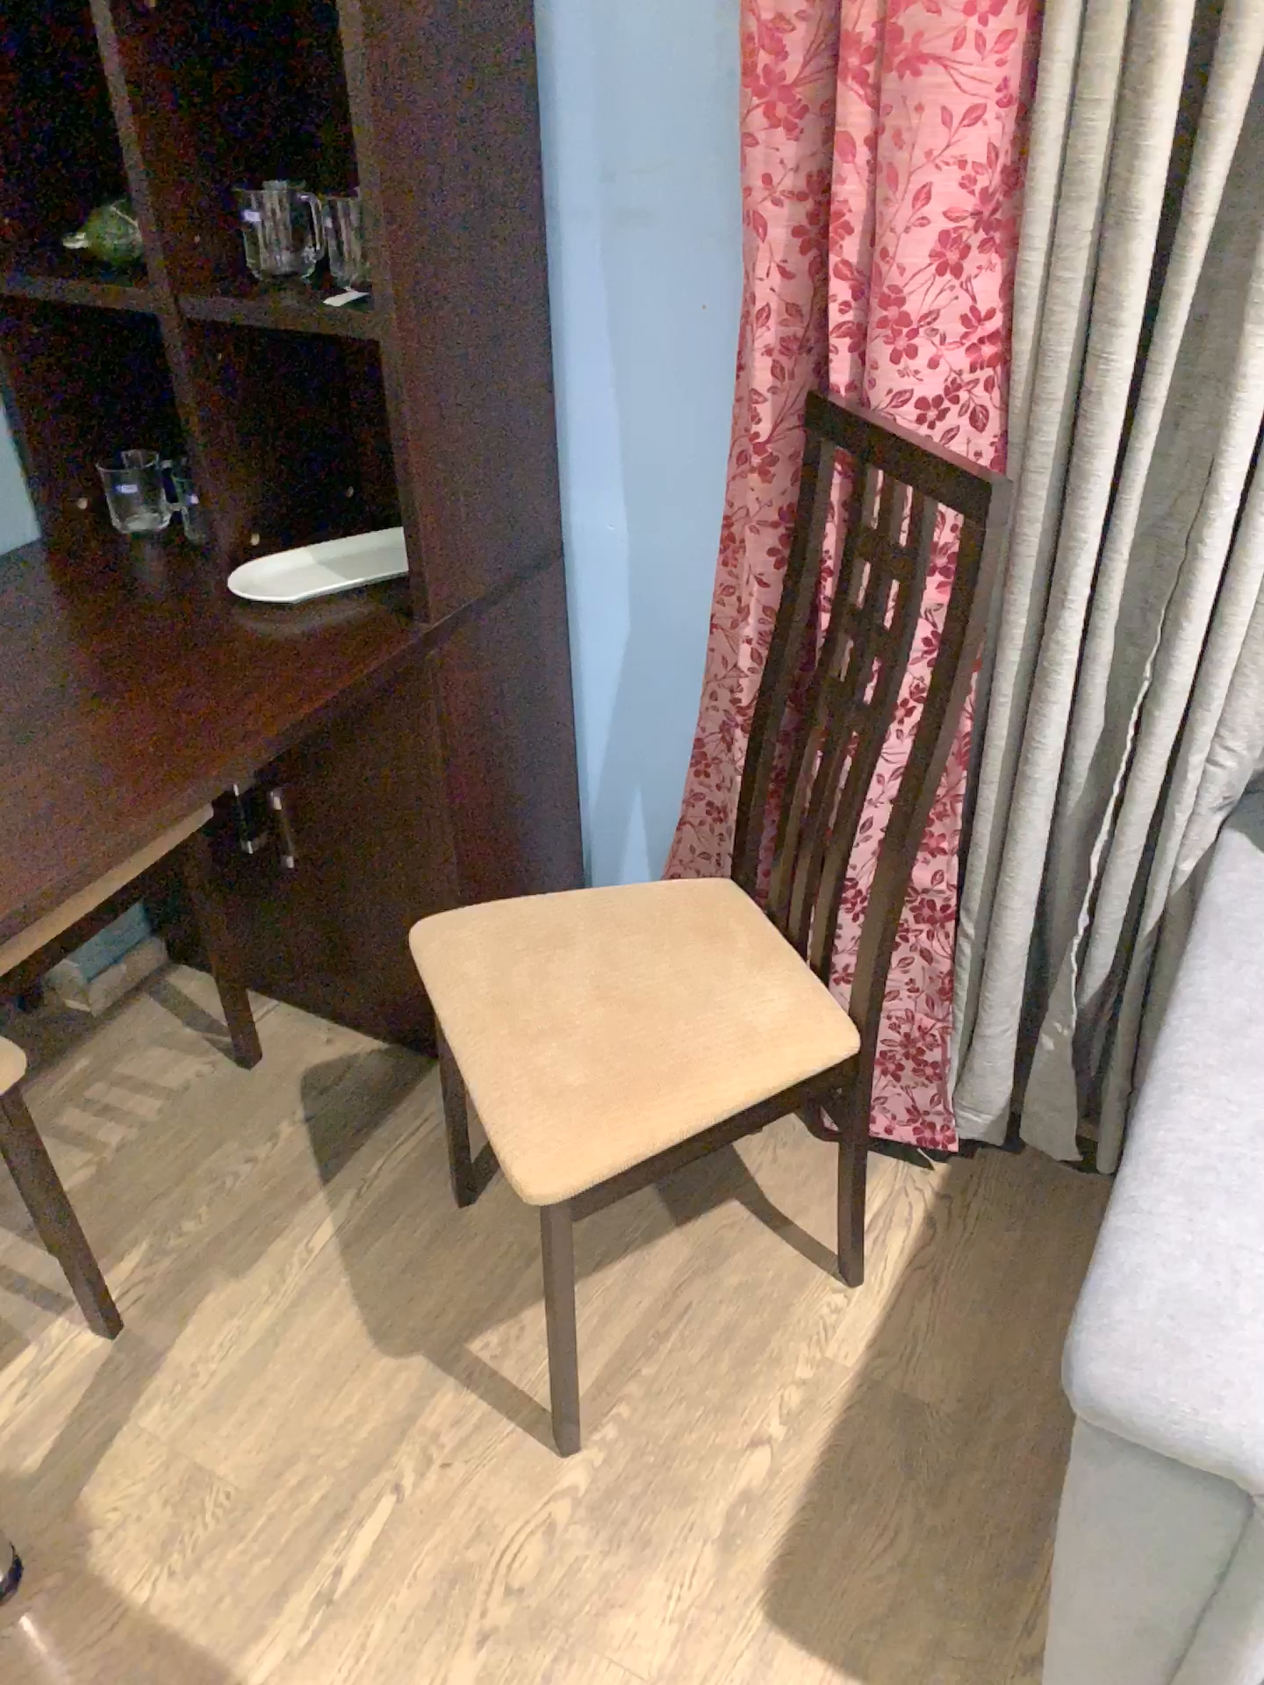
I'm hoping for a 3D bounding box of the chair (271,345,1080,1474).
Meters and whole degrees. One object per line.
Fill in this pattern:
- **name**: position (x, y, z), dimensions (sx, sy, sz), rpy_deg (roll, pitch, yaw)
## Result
- **chair**: position (0.013, 0.066, 1.373), dimensions (0.510, 0.976, 0.532), rpy_deg (-16, 37, -19)
